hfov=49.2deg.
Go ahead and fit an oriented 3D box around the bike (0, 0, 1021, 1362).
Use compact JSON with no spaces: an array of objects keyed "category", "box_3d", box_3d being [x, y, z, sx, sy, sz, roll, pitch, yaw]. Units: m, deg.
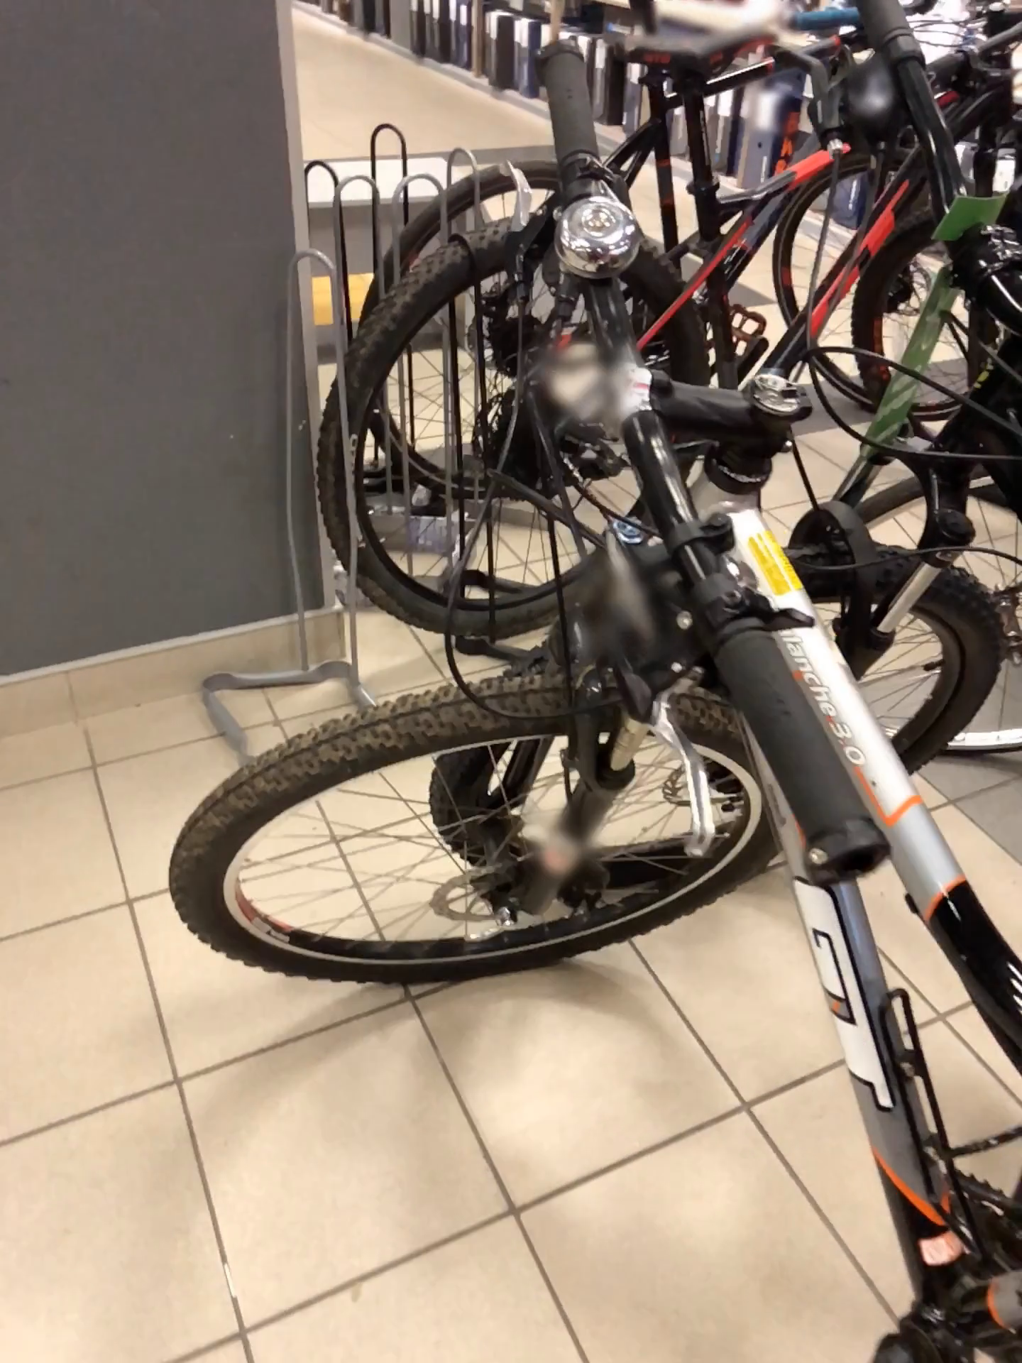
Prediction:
[{"category":"bike","box_3d":[0.240,0.310,0.570,1.428,1.012,0.626,33,46,32]}]
